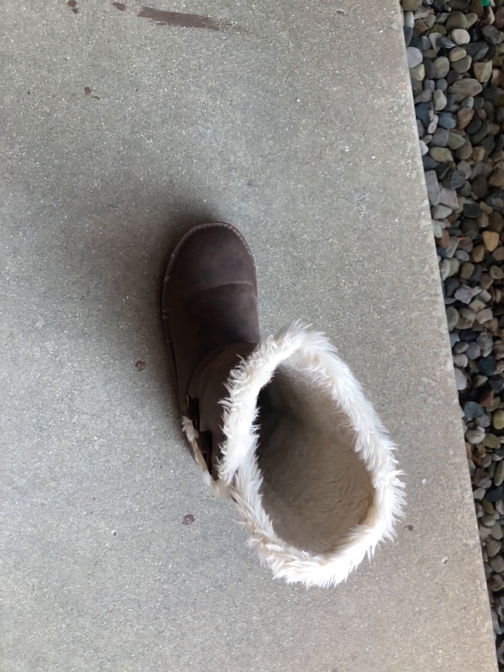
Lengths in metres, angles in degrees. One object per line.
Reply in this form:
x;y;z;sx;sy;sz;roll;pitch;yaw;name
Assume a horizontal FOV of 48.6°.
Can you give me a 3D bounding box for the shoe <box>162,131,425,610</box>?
0.006;0.016;0.495;0.120;0.319;0.280;-3;92;-15;shoe
